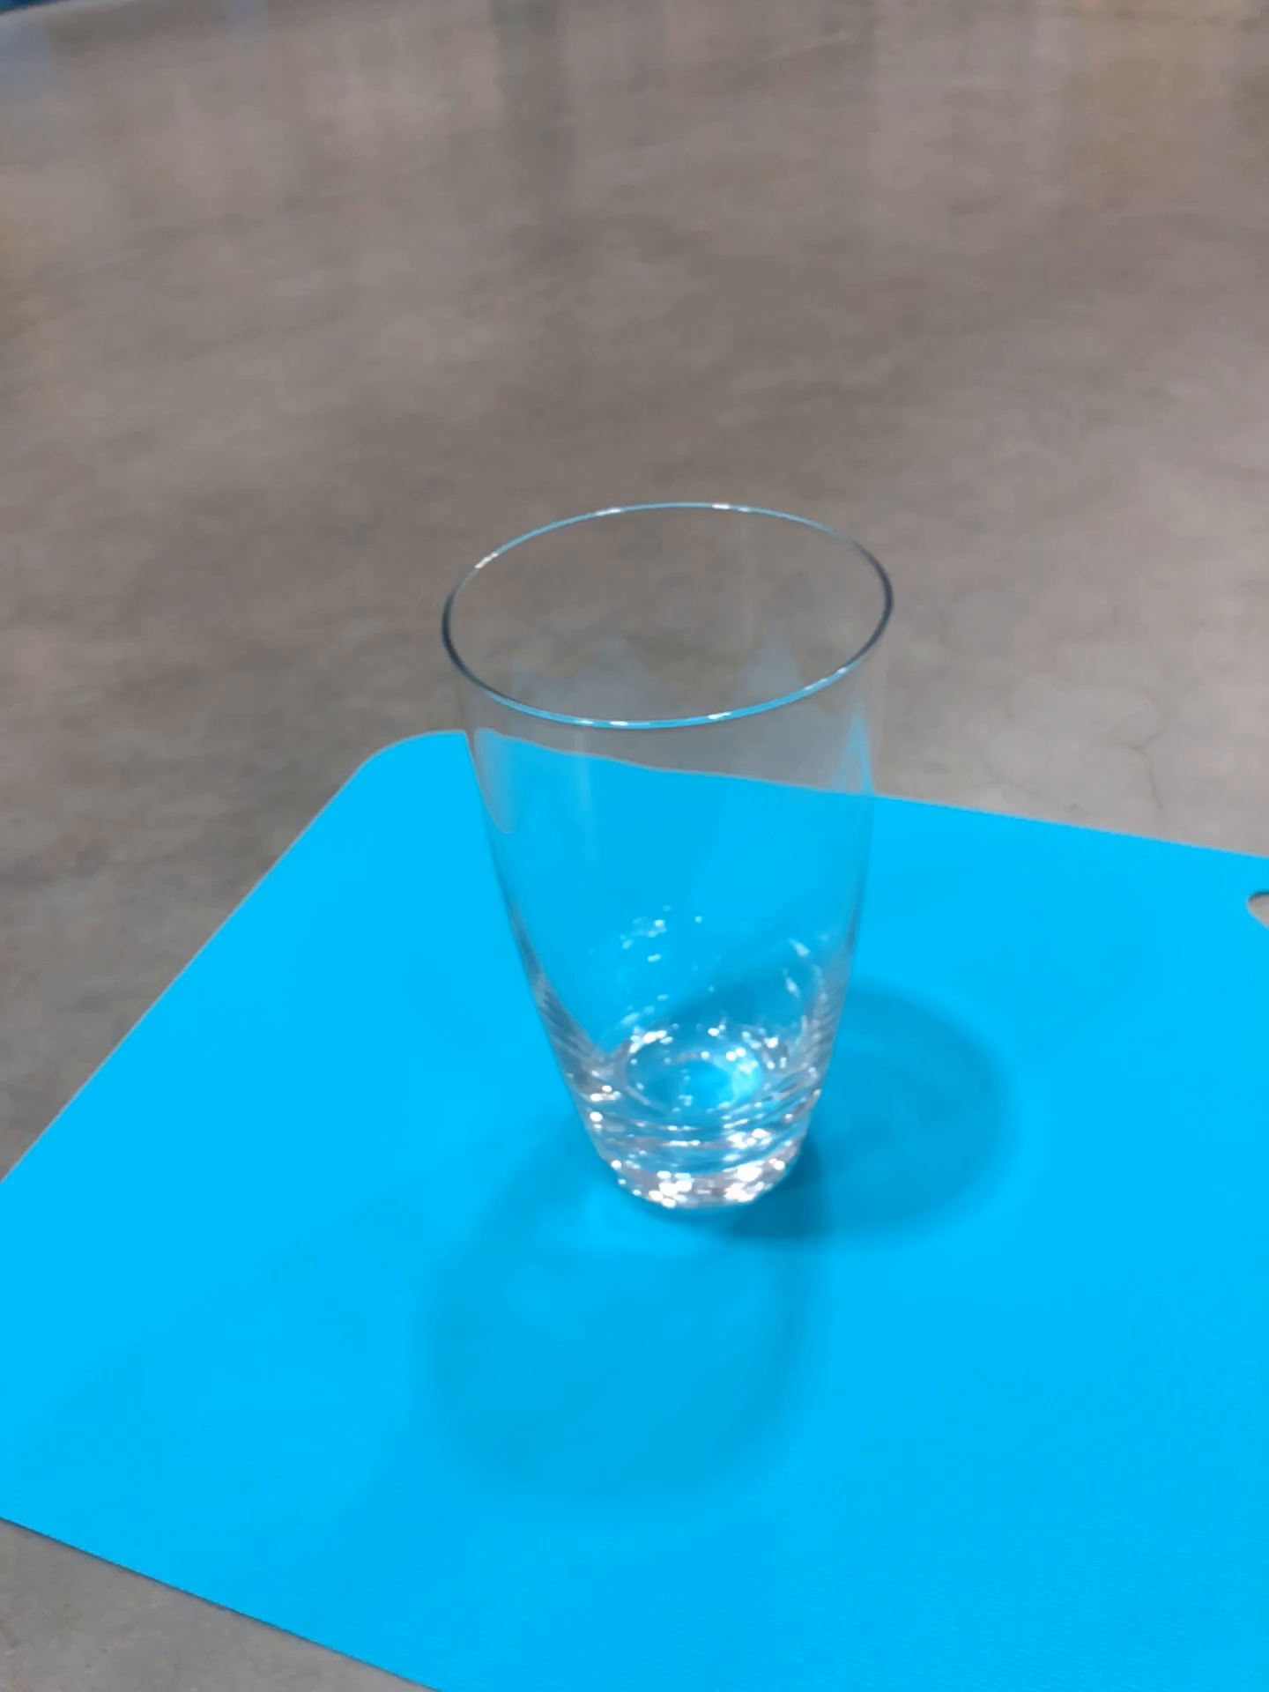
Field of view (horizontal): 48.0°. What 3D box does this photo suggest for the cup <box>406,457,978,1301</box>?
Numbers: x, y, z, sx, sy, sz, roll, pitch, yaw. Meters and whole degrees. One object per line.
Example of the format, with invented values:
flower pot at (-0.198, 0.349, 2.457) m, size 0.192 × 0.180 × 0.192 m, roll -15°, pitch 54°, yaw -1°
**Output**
cup at (0.010, 0.009, 0.339) m, size 0.100 × 0.159 × 0.100 m, roll -3°, pitch 37°, yaw 3°
